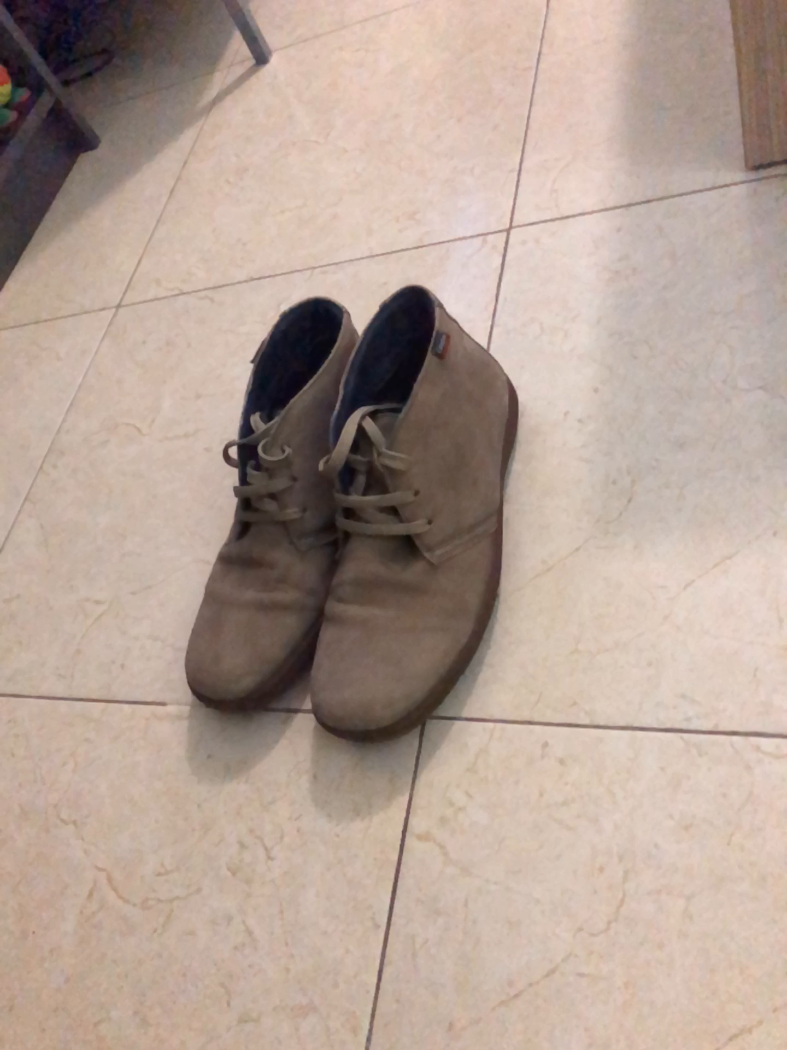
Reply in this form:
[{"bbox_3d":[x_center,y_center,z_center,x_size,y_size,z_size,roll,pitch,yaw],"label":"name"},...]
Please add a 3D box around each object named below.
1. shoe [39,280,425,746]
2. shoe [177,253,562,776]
[{"bbox_3d":[-0.092,-0.016,0.588,0.110,0.119,0.280,5,60,30],"label":"shoe"},{"bbox_3d":[0.003,-0.014,0.529,0.120,0.119,0.280,2,59,28],"label":"shoe"}]
